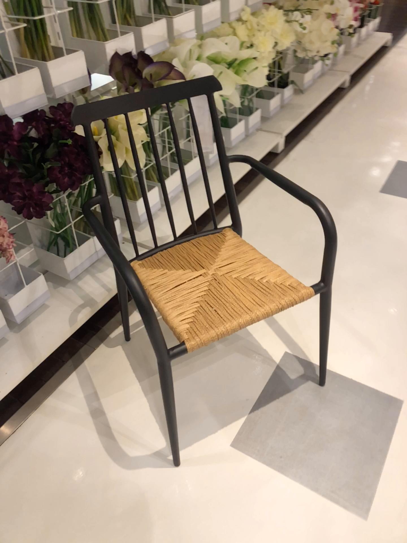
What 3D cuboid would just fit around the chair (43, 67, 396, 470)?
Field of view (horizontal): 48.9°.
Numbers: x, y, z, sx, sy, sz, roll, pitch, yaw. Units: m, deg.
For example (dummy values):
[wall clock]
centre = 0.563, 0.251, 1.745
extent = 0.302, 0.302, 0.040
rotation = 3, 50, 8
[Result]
[chair]
centre = 0.011, -0.032, 1.201
extent = 0.541, 0.754, 0.584
rotation = -21, 43, -20
